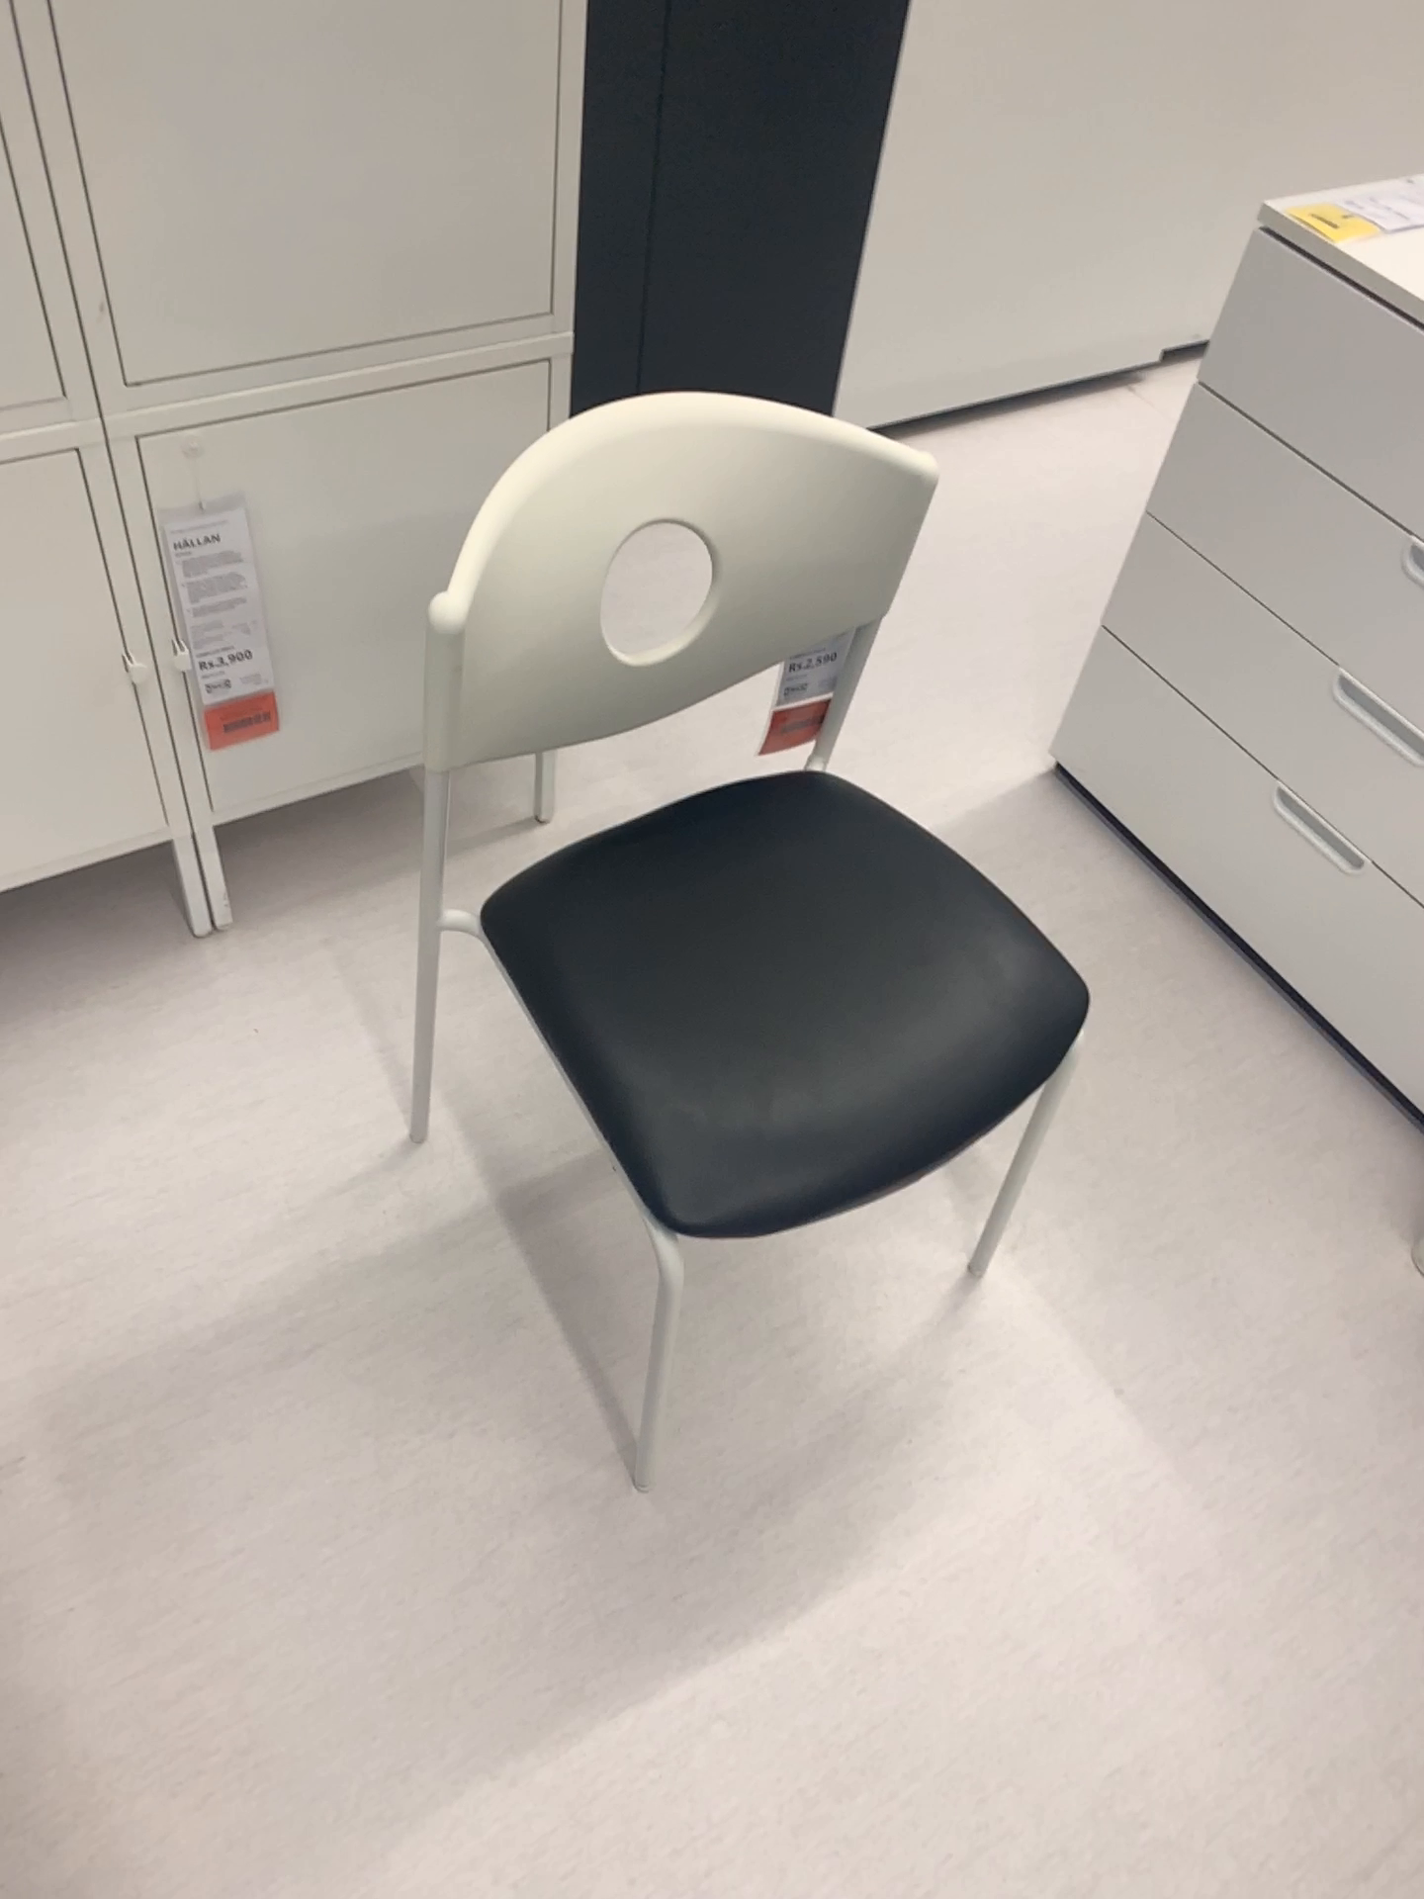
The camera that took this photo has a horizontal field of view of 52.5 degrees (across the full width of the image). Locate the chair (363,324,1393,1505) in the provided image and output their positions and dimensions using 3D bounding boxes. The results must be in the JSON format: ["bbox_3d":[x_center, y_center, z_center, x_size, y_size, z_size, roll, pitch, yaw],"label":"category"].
[{"bbox_3d":[0.061,-0.008,1.250,0.481,0.767,0.511,-25,58,-27],"label":"chair"}]
